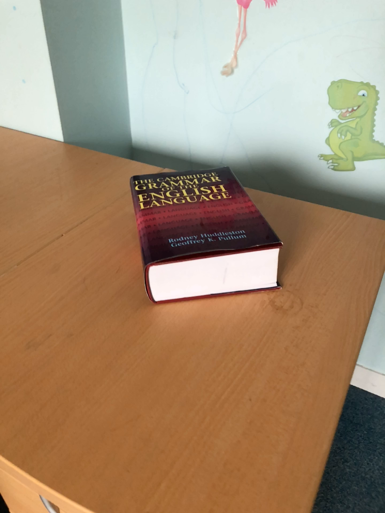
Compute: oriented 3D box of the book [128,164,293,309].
[{"bbox_3d":[0.011,-0.048,0.654,0.194,0.070,0.261,-7,37,-8],"label":"book"}]
